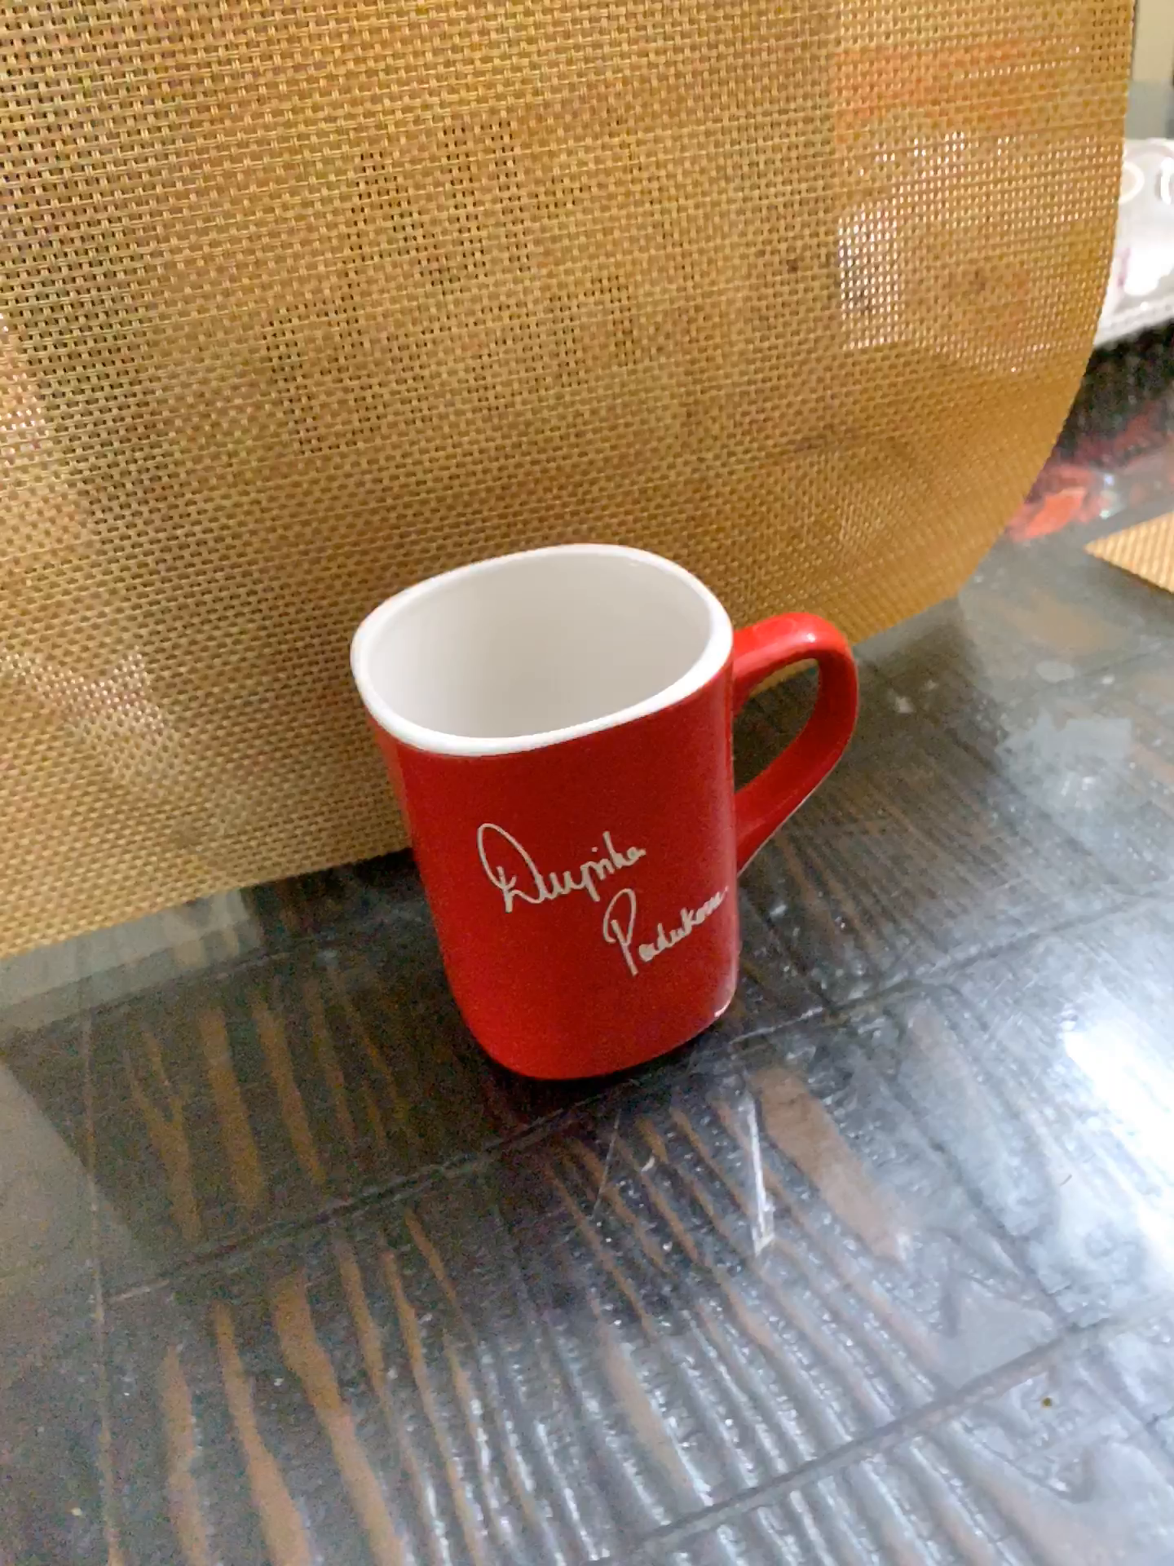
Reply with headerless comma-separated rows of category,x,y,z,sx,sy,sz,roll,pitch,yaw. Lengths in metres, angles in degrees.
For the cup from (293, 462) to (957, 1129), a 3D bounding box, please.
cup,0.007,-0.001,0.239,0.100,0.079,0.071,-17,37,-10
